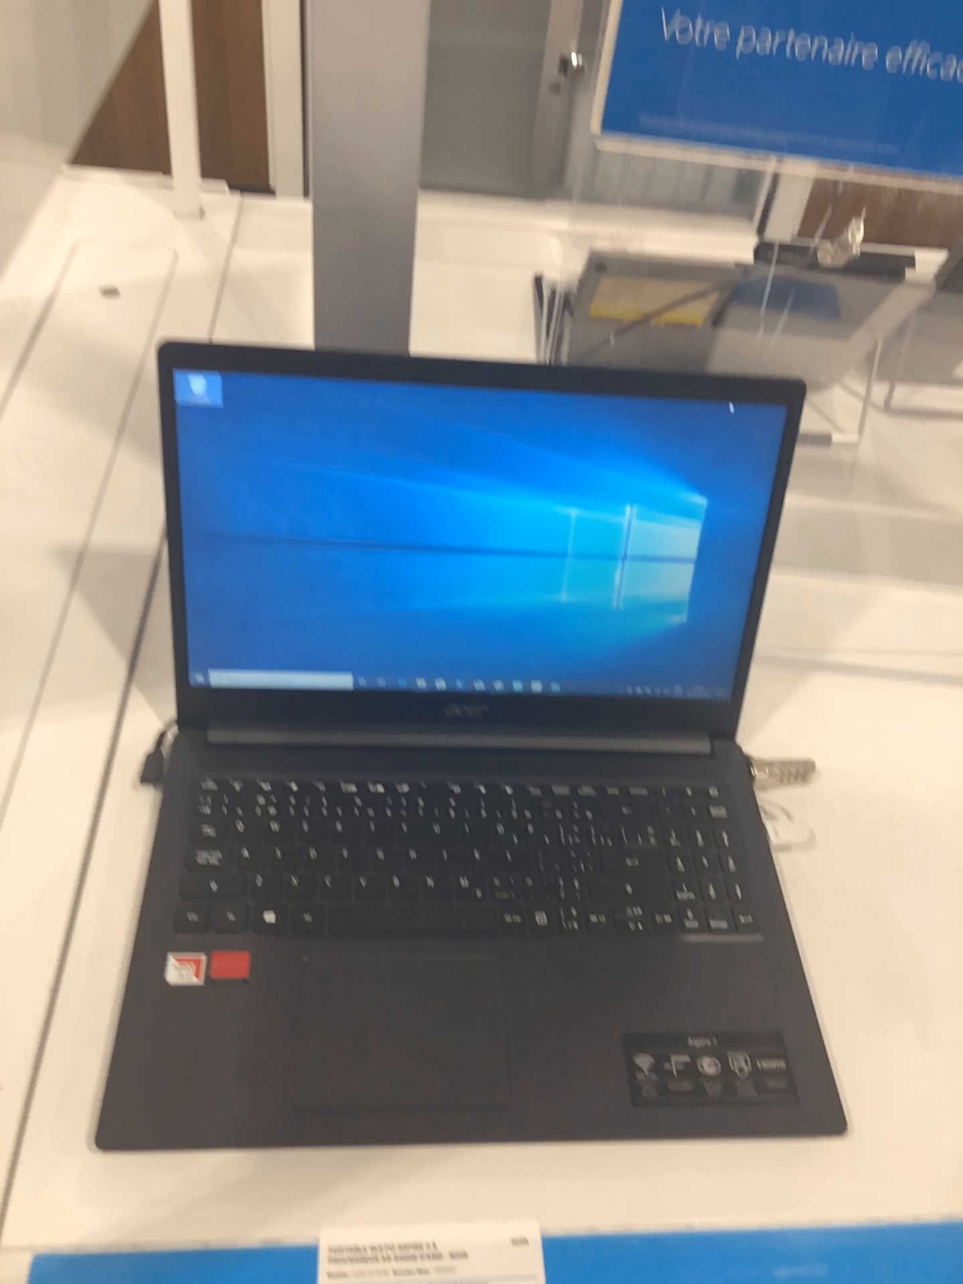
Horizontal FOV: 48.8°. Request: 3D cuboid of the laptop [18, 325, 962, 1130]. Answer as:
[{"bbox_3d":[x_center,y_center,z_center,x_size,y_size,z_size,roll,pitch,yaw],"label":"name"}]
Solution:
[{"bbox_3d":[0.004,0.037,0.572,0.367,0.212,0.351,2,48,-6],"label":"laptop"}]
